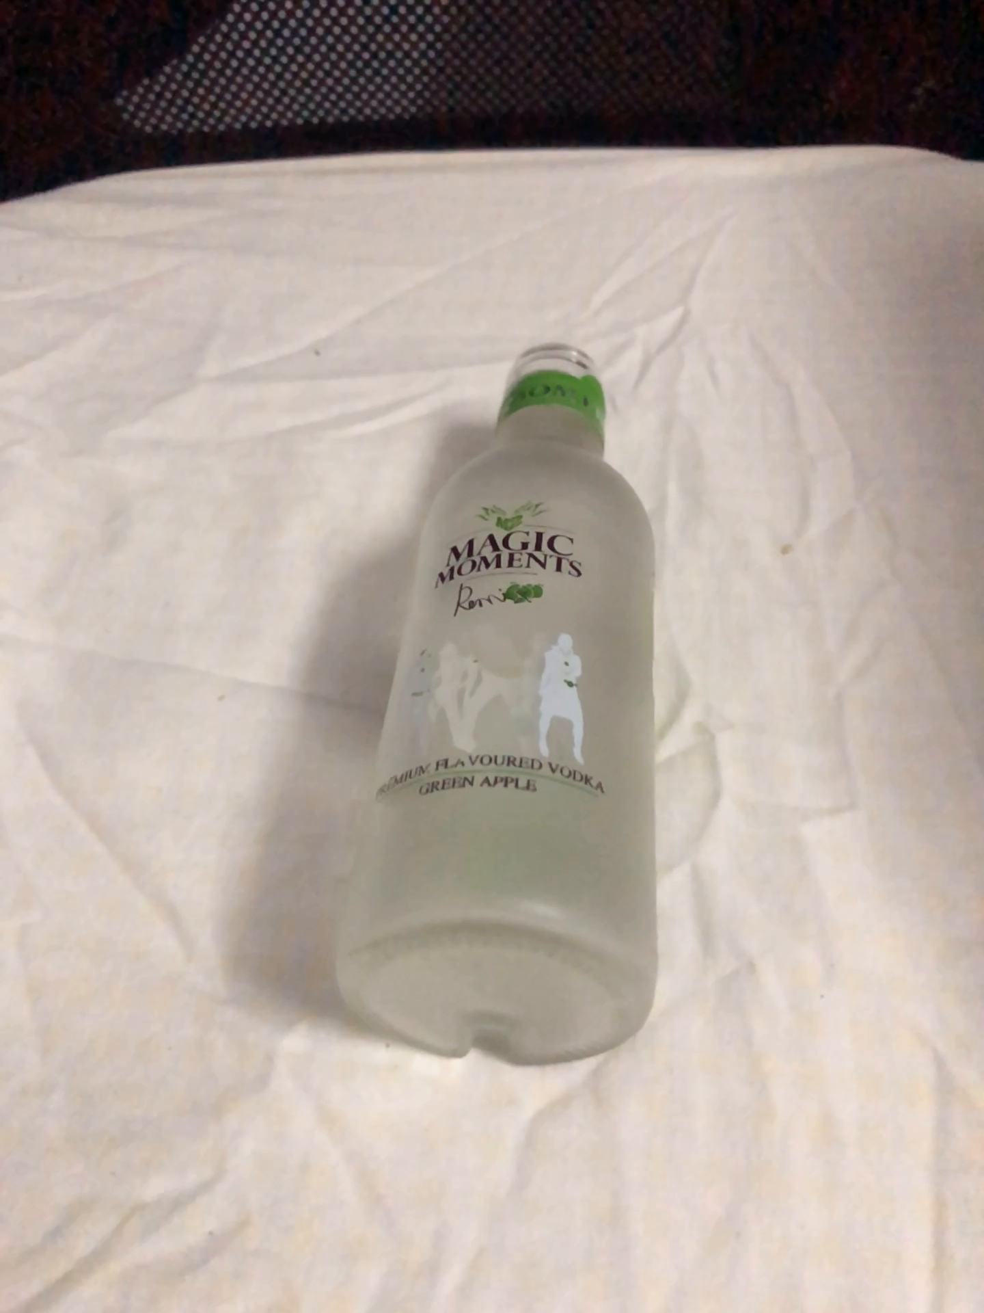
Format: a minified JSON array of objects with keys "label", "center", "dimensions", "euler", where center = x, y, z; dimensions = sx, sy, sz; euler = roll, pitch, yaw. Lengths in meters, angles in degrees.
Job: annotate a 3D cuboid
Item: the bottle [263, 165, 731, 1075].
[{"label":"bottle","center":[0.009,-0.021,0.219],"dimensions":[0.060,0.060,0.181],"euler":[3,53,4]}]
